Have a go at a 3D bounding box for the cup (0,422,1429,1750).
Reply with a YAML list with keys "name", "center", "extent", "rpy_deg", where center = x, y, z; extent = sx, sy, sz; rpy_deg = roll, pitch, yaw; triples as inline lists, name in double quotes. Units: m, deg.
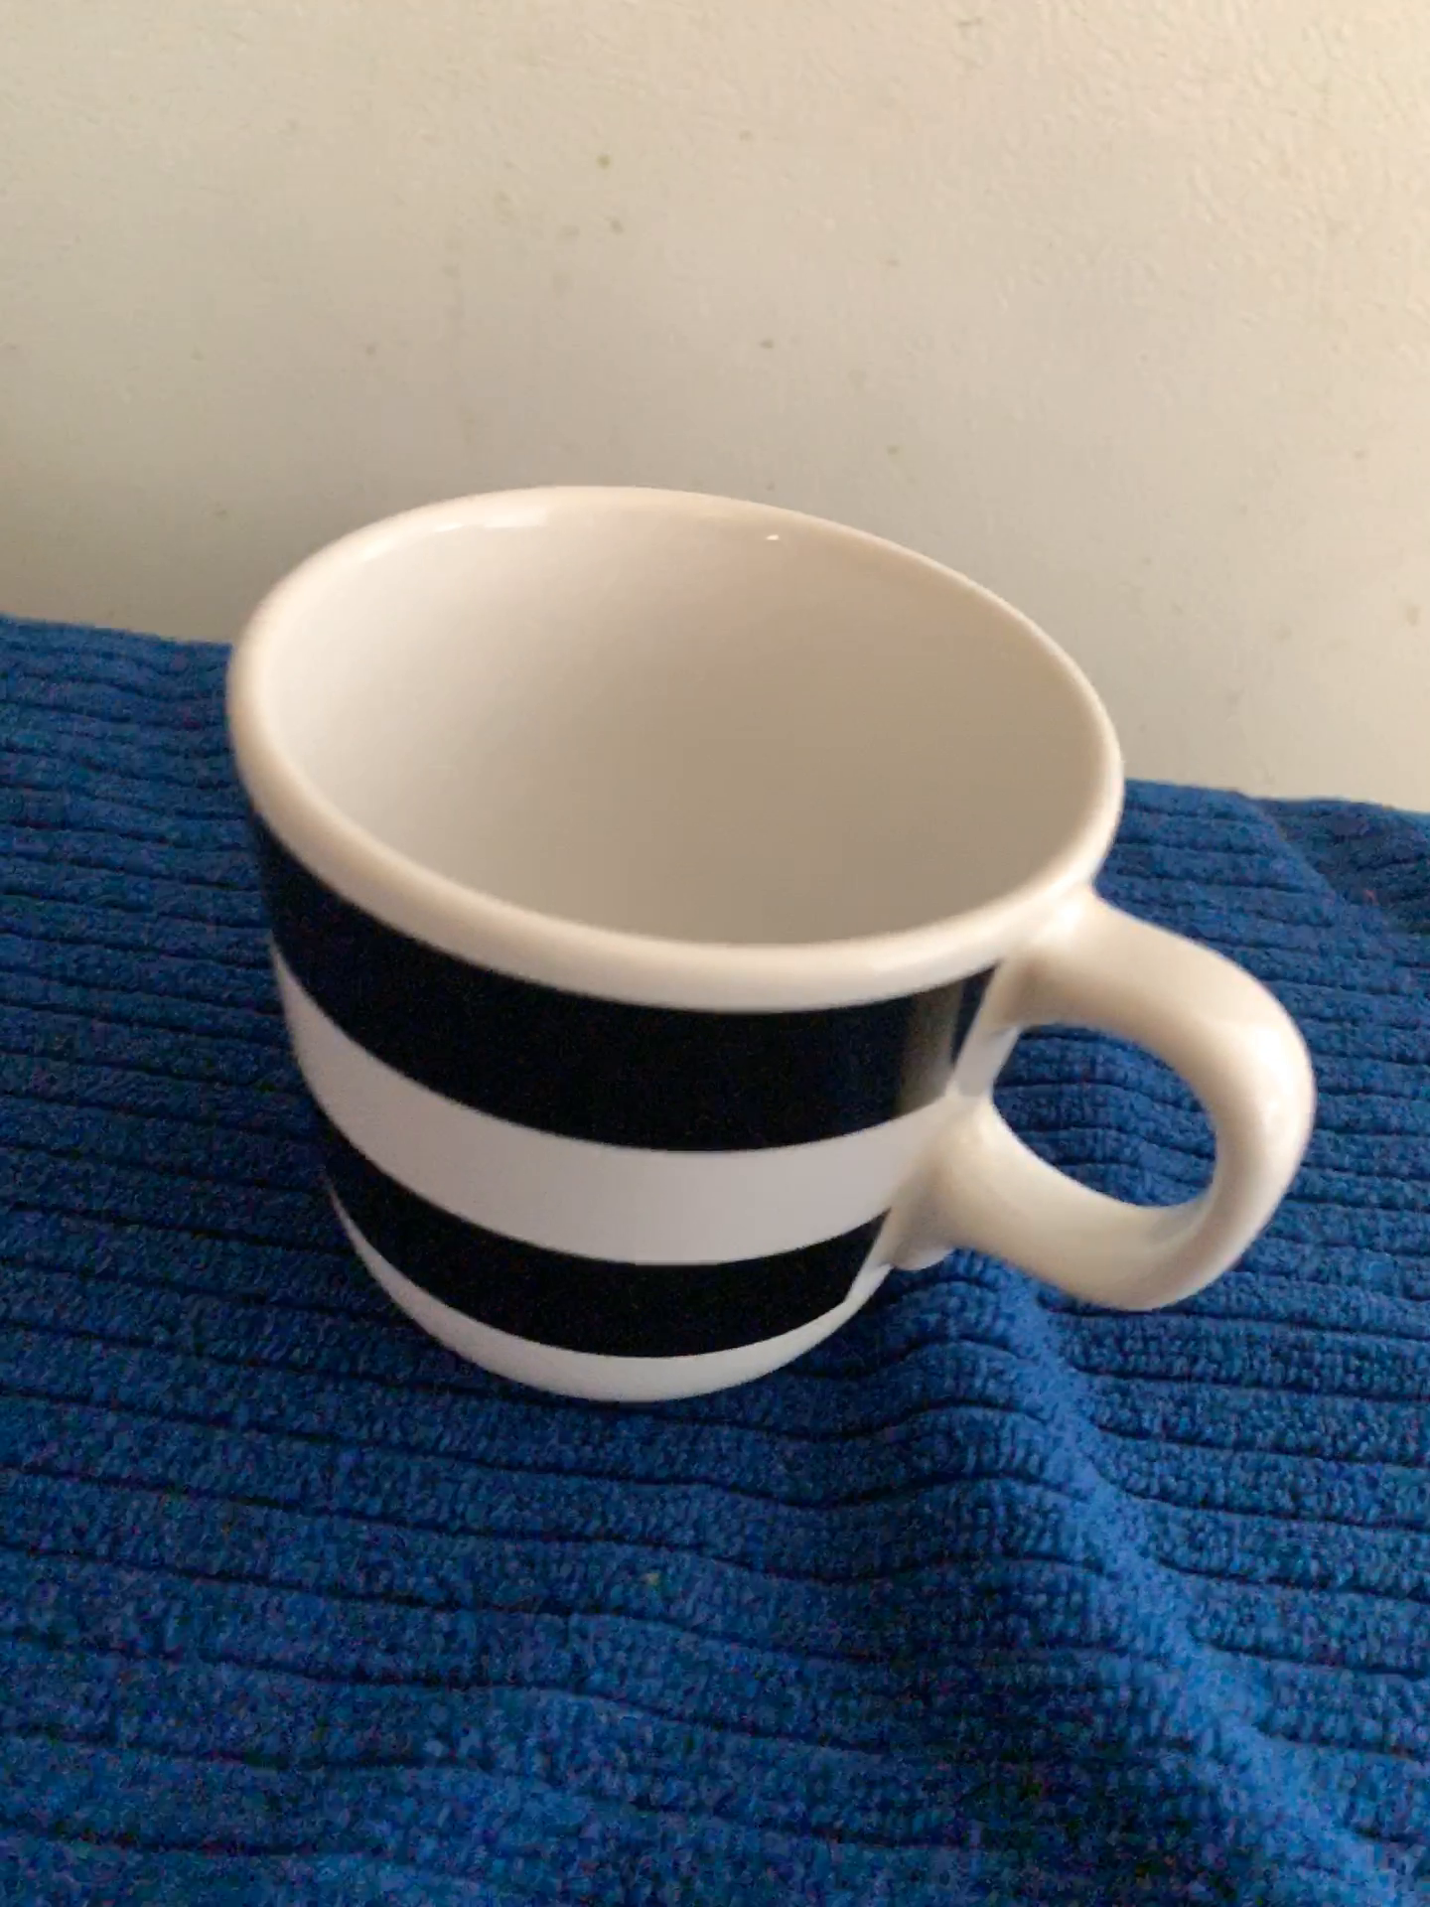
- name: "cup"
  center: [0.002, 0.000, 0.157]
  extent: [0.113, 0.057, 0.085]
  rpy_deg: [28, 45, 24]
